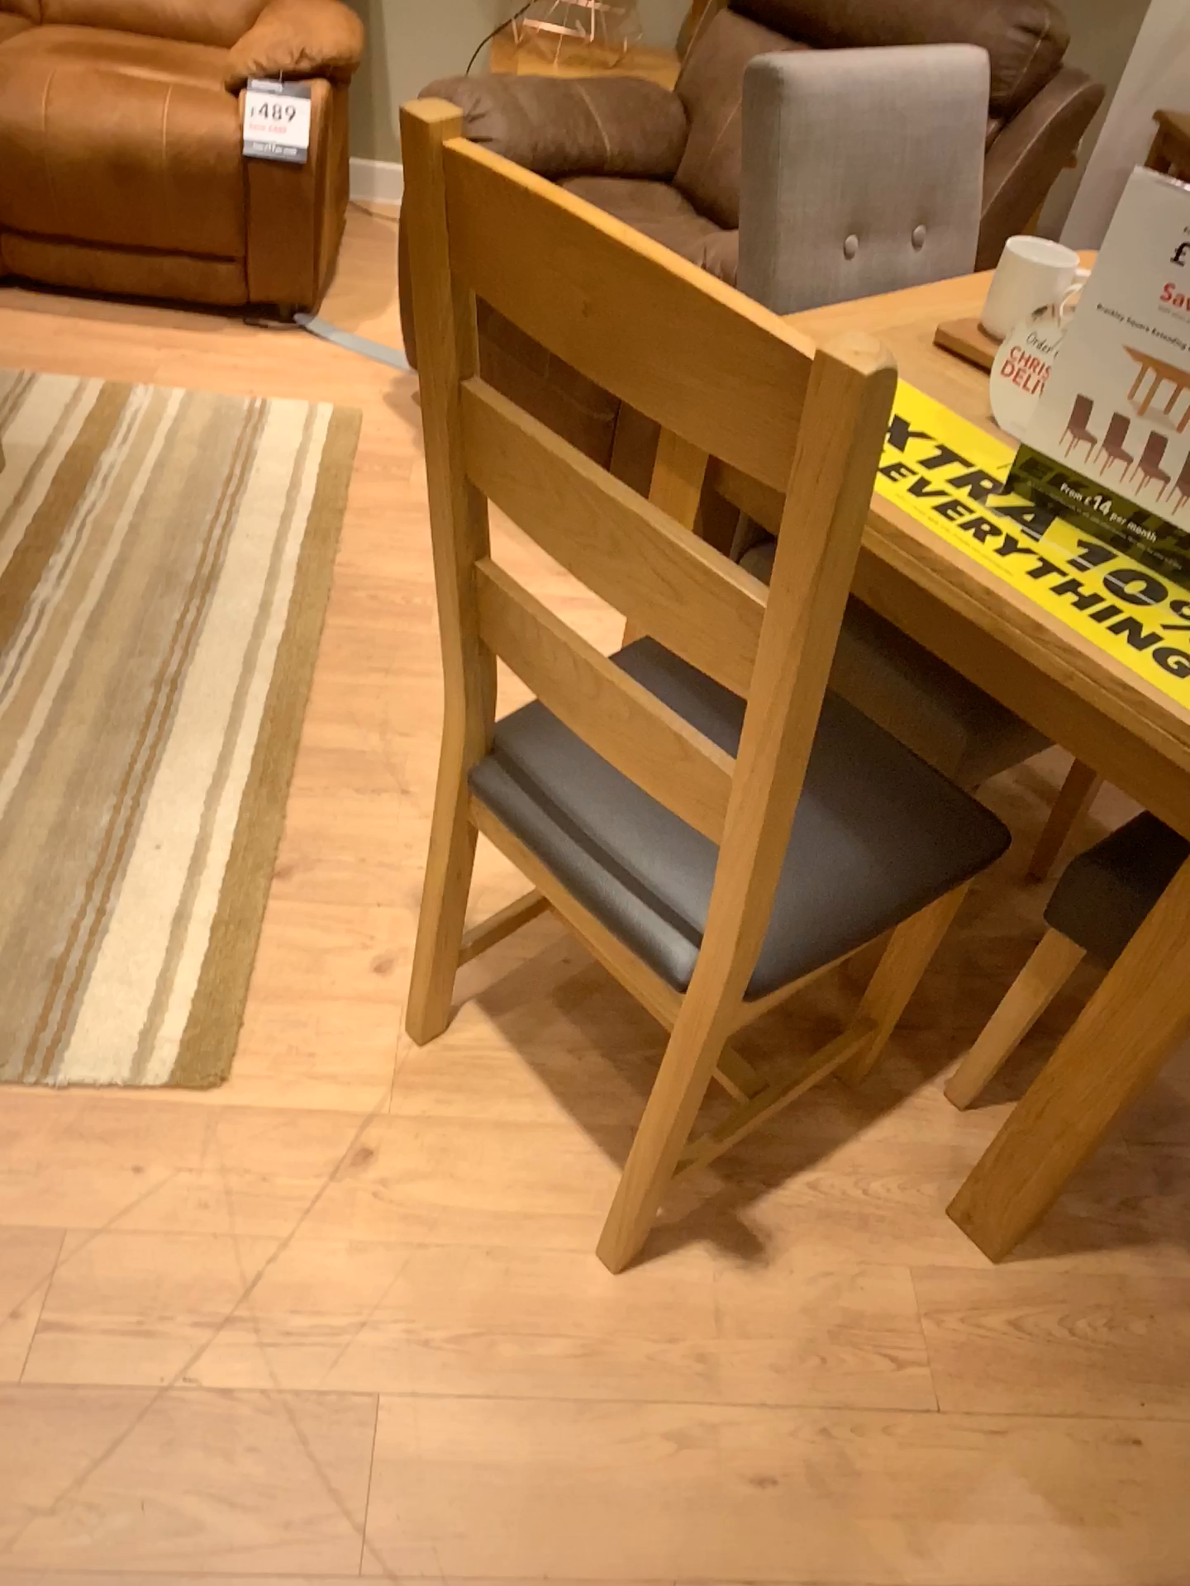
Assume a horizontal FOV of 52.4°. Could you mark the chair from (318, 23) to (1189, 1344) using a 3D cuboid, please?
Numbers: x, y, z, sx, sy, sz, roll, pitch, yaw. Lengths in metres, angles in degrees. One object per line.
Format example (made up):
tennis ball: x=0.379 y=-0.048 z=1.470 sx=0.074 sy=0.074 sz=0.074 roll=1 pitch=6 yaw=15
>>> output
chair: x=0.143 y=-0.079 z=1.137 sx=0.579 sy=0.959 sz=0.557 roll=-29 pitch=57 yaw=-34
